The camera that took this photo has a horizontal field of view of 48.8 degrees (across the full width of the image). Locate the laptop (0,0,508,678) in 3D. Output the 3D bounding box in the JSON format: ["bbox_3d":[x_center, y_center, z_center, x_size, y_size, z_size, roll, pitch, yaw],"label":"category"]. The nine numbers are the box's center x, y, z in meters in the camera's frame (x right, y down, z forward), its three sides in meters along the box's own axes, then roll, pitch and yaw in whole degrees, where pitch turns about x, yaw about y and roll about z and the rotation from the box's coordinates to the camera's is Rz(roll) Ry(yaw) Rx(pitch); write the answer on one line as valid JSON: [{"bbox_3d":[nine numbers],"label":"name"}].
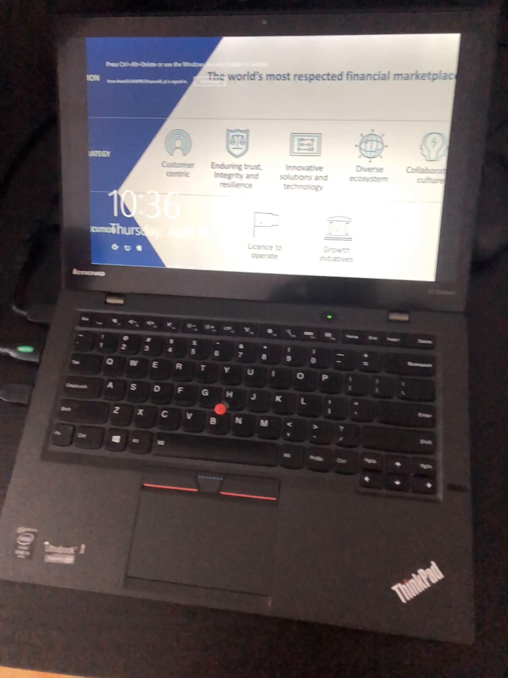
[{"bbox_3d":[-0.009,-0.028,0.375,0.322,0.117,0.389,4,71,8],"label":"laptop"}]
